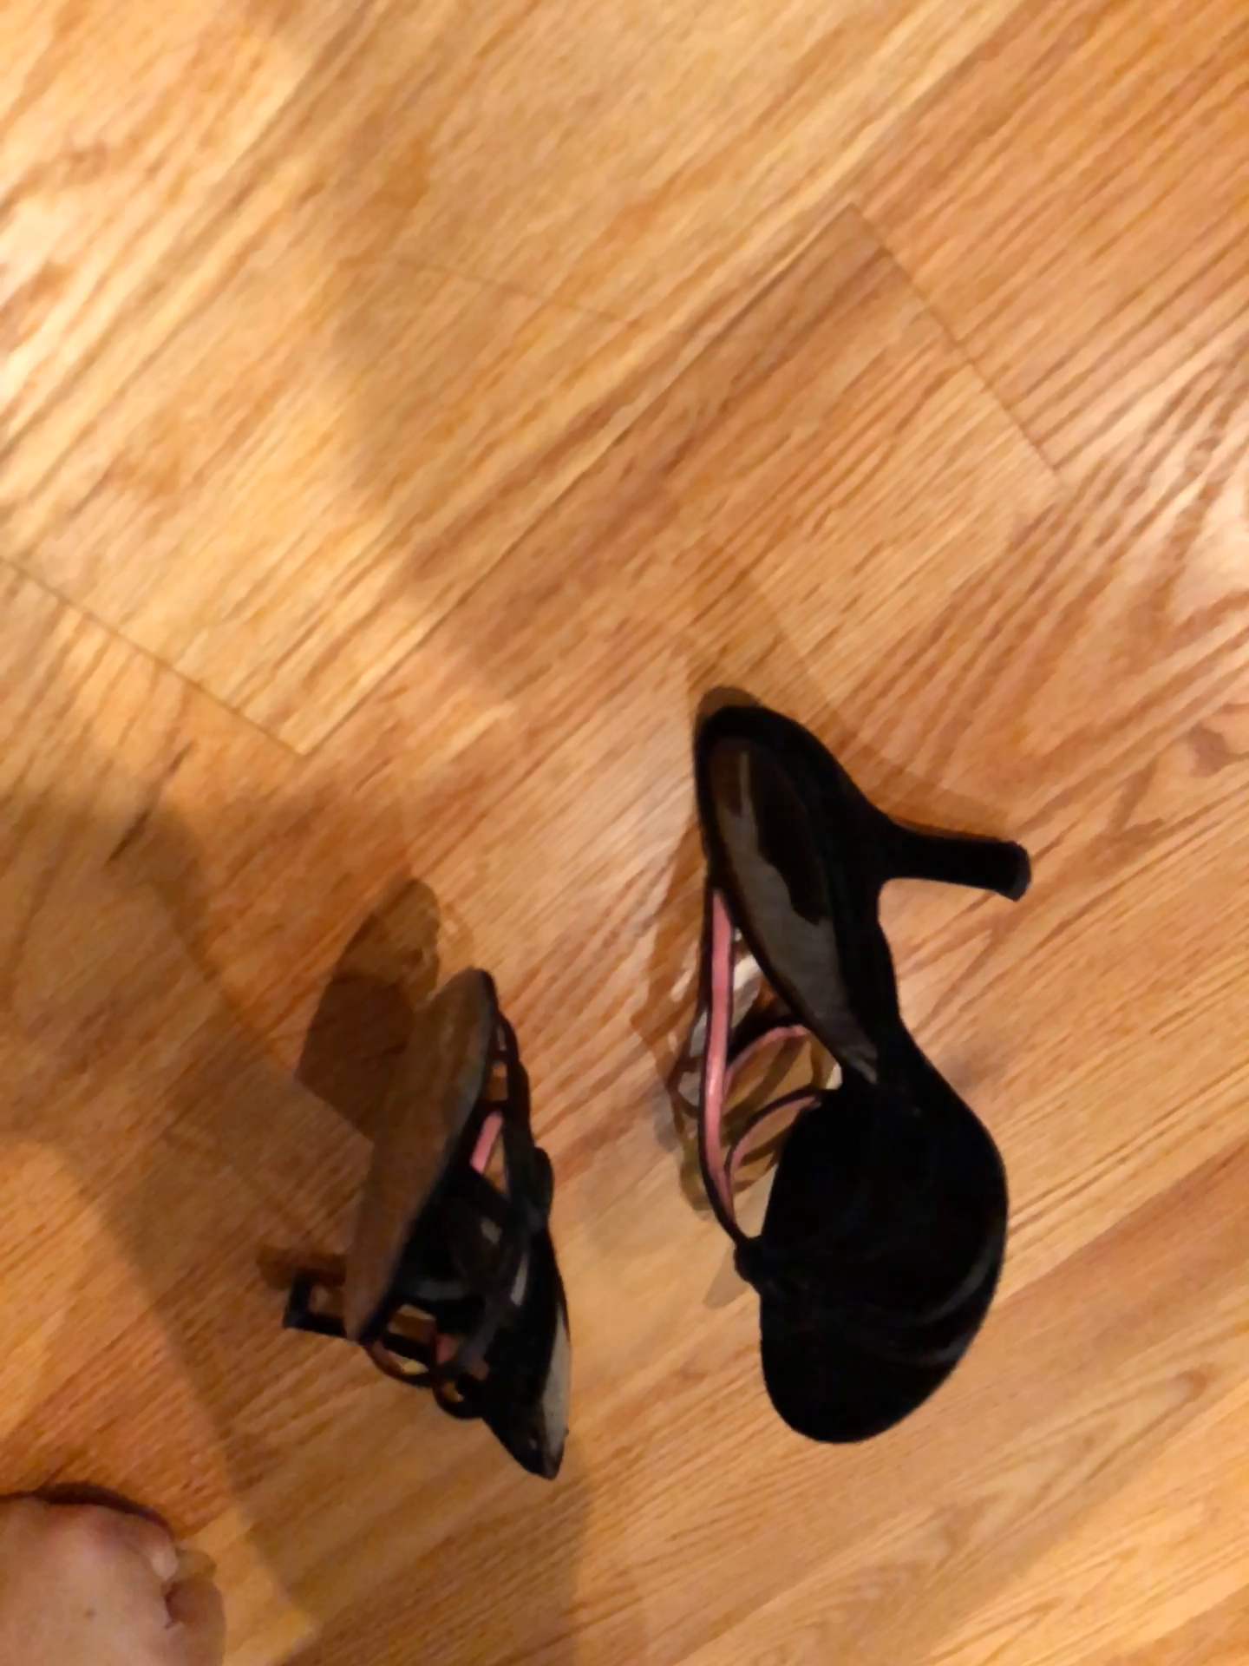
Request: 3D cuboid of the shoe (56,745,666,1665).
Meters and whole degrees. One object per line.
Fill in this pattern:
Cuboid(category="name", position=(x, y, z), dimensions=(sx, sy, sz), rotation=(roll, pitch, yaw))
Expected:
Cuboid(category="shoe", position=(-0.050, 0.112, 0.324), dimensions=(0.082, 0.104, 0.236), rotation=(-12, 128, -9))

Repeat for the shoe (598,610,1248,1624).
Cuboid(category="shoe", position=(0.064, 0.075, 0.329), dimensions=(0.102, 0.104, 0.216), rotation=(-11, 128, -6))
